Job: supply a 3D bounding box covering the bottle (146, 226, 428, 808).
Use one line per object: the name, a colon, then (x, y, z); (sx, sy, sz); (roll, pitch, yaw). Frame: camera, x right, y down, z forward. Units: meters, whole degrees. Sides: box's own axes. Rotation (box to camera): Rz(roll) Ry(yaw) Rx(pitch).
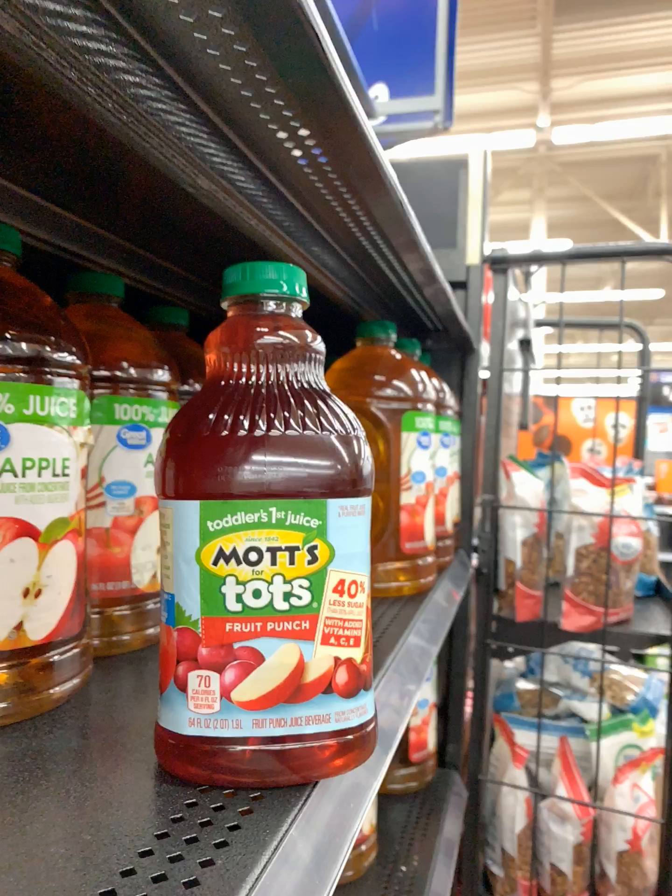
bottle: (-0.032, 0.030, 0.368); (0.120, 0.250, 0.110); (2, 0, 0)
